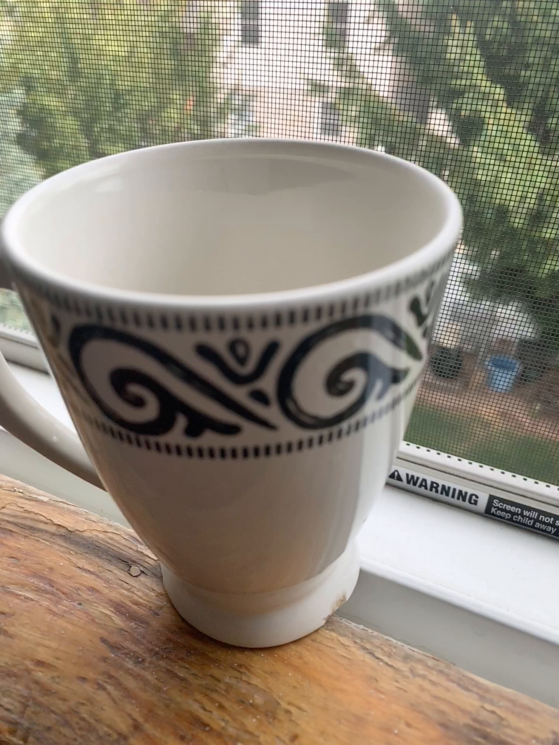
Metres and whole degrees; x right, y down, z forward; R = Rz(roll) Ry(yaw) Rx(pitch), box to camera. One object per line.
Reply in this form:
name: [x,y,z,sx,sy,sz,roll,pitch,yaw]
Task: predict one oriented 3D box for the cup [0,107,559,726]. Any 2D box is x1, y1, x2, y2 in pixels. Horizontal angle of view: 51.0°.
cup: [-0.024,0.002,0.127,0.130,0.089,0.081,6,36,7]
